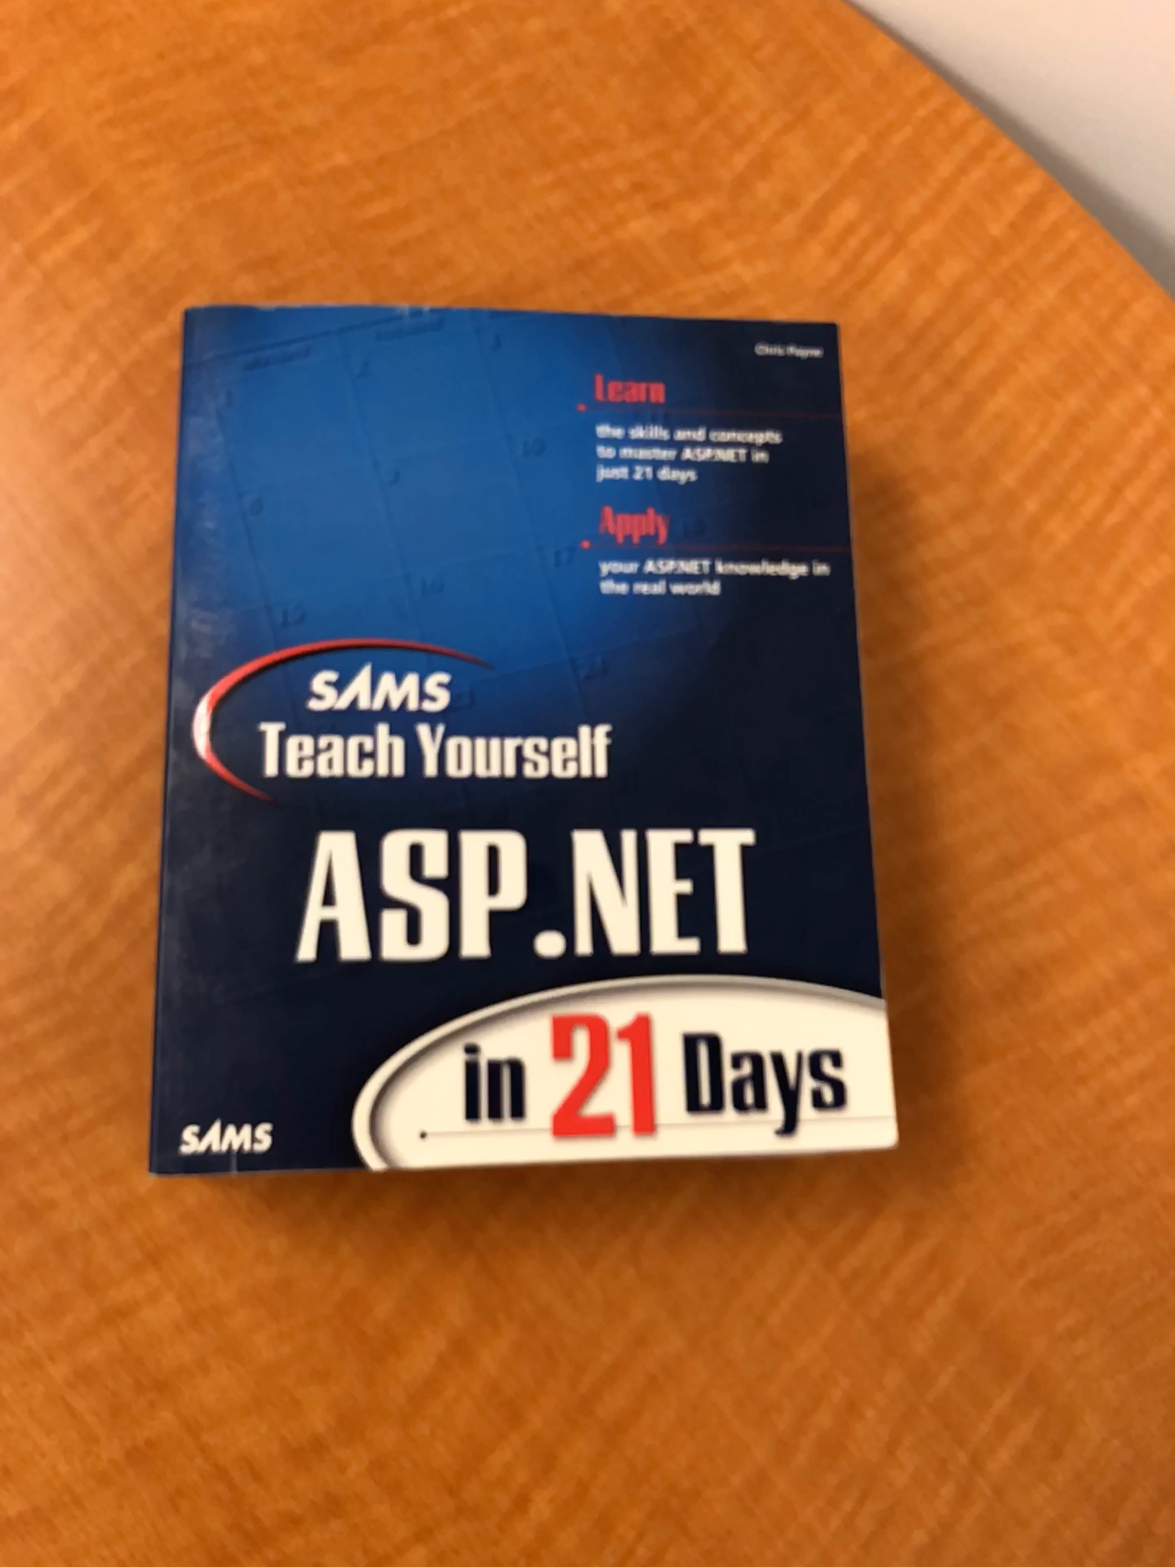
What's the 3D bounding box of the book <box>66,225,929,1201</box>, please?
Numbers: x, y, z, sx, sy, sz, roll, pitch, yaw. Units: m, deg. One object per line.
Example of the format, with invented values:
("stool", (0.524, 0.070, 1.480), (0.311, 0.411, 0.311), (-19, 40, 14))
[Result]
("book", (-0.019, -0.015, 0.362), (0.200, 0.070, 0.240), (3, 79, -8))
